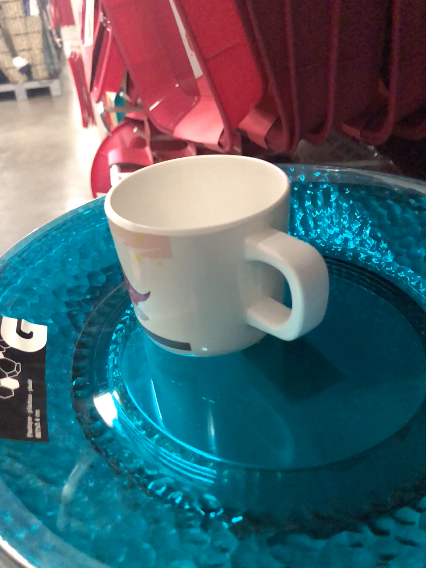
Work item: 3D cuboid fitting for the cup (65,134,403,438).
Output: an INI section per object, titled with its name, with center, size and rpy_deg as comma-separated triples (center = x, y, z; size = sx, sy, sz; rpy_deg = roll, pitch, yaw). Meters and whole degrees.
[cup]
center = 0.006, -0.010, 0.194
size = 0.075, 0.064, 0.102
rpy_deg = -30, 42, -32
